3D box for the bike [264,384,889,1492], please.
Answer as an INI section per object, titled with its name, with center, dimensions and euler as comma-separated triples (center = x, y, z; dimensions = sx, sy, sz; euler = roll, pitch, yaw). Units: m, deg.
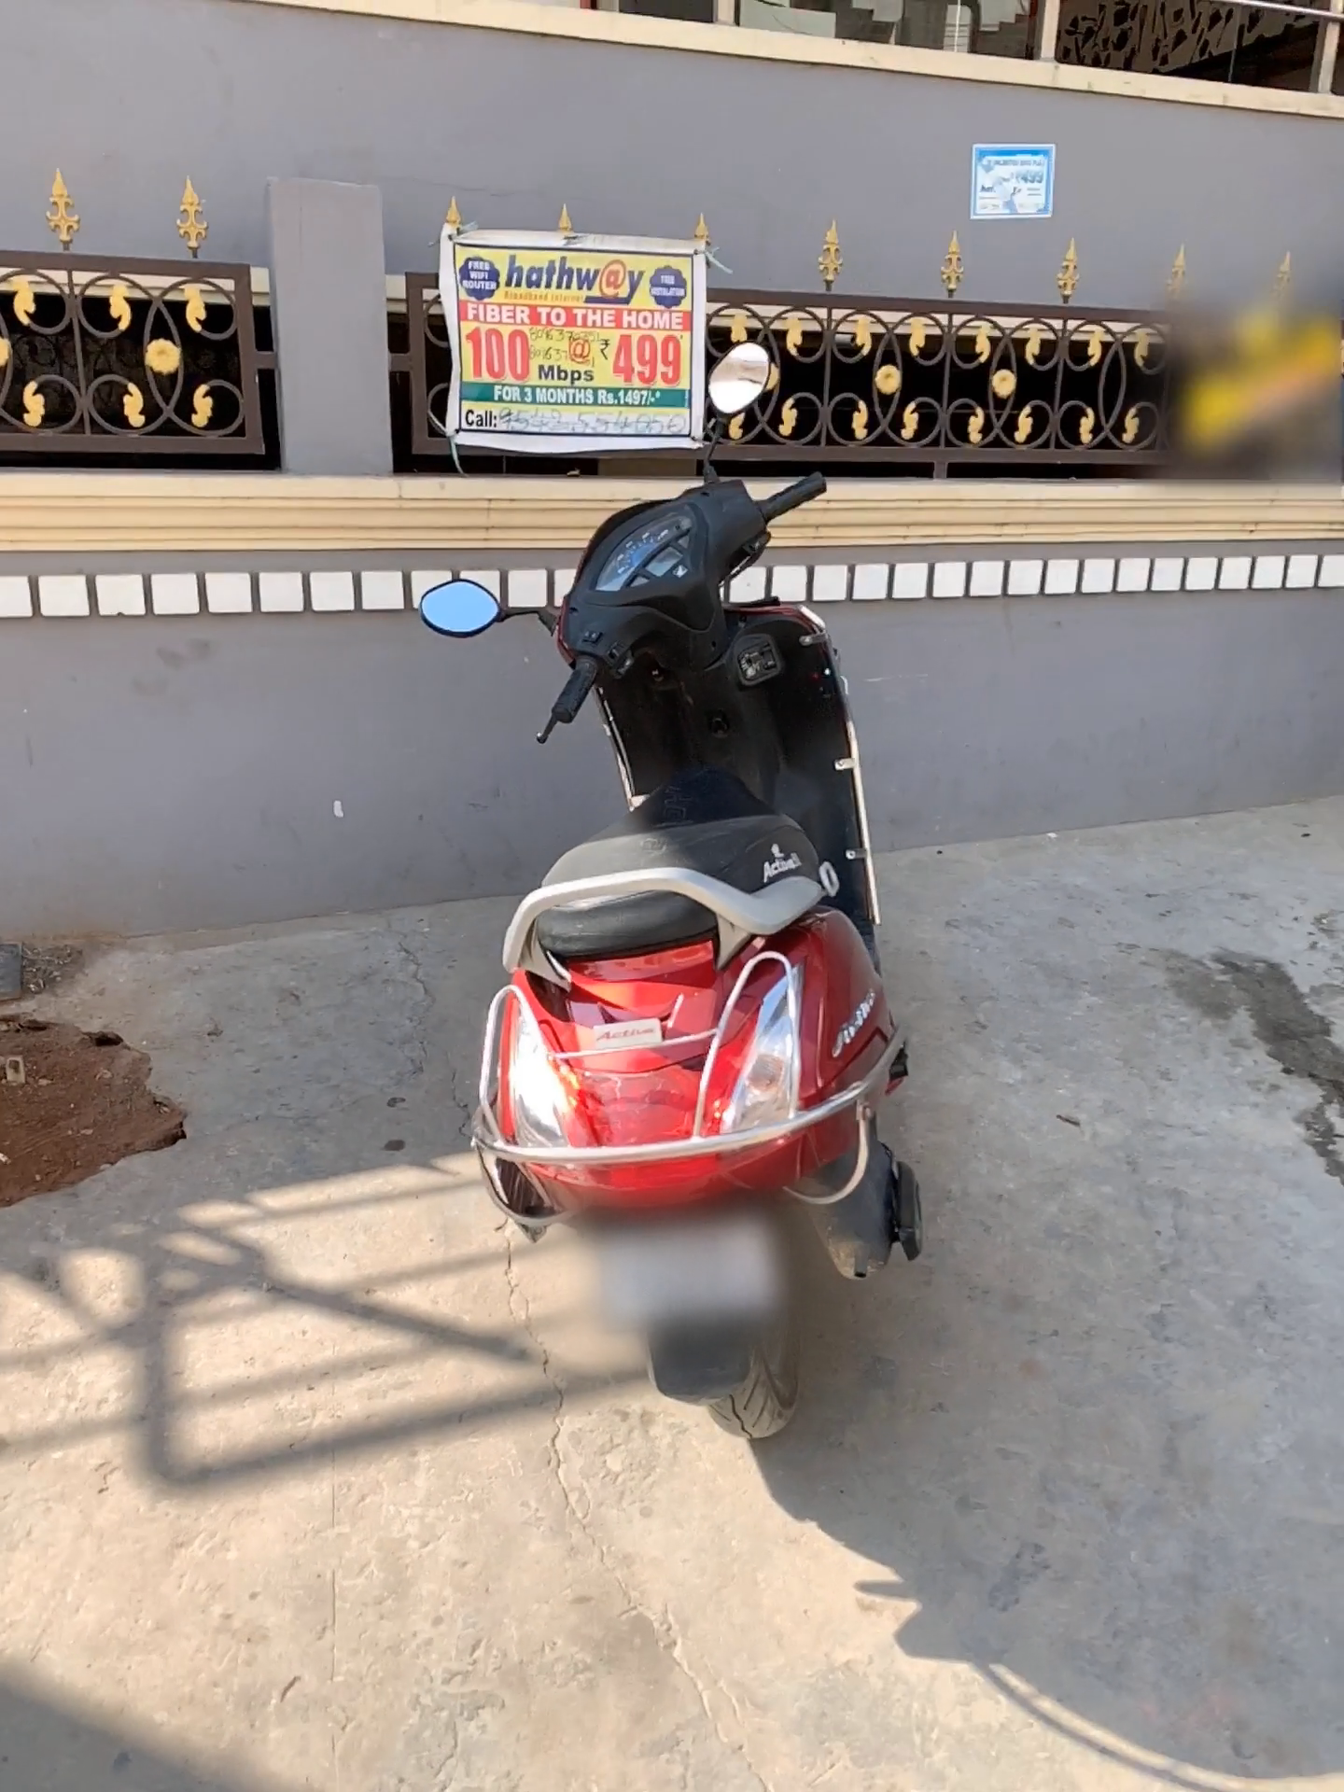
[bike]
center = -0.124, -0.189, 2.335
dimensions = 0.622, 1.164, 1.763
euler = 1, 23, -1
